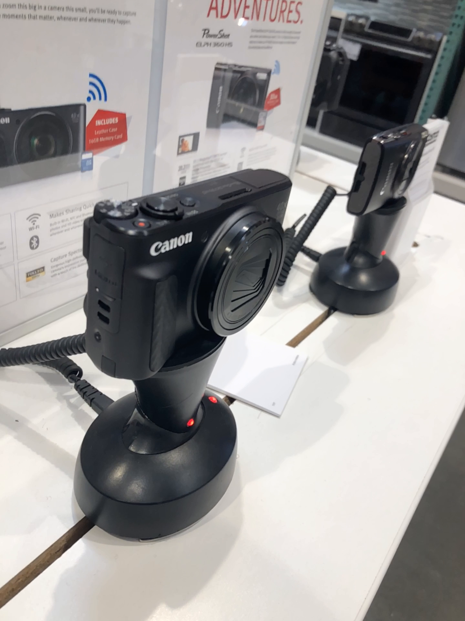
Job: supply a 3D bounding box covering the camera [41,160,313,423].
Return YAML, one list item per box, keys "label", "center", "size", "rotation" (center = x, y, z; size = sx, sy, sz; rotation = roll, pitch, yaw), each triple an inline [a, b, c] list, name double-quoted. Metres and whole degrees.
- label: "camera"
  center: [-0.019, -0.017, 0.226]
  size: [0.040, 0.070, 0.120]
  rotation: [29, 36, 25]
